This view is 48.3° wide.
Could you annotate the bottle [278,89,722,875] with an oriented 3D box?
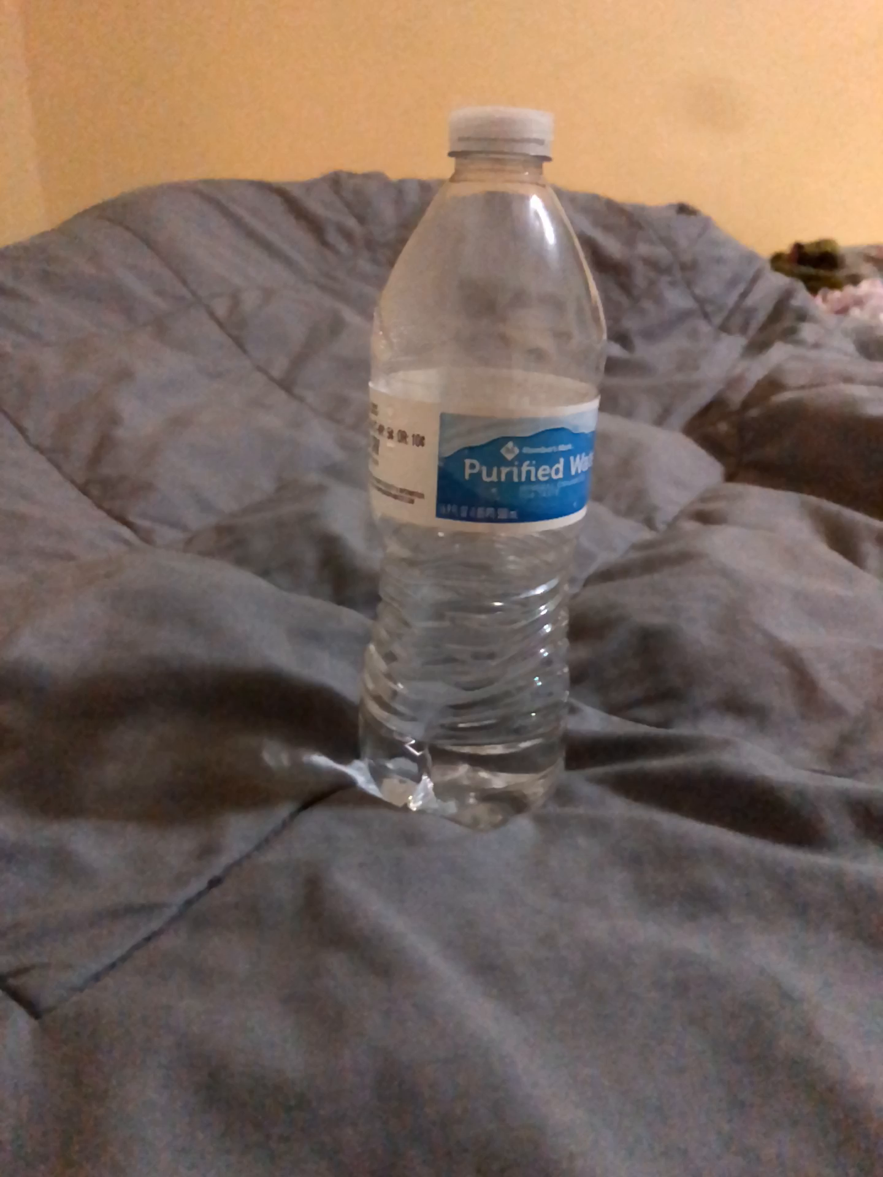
[{"bbox_3d":[0.011,-0.031,0.283,0.080,0.190,0.080,1,21,0],"label":"bottle"}]
